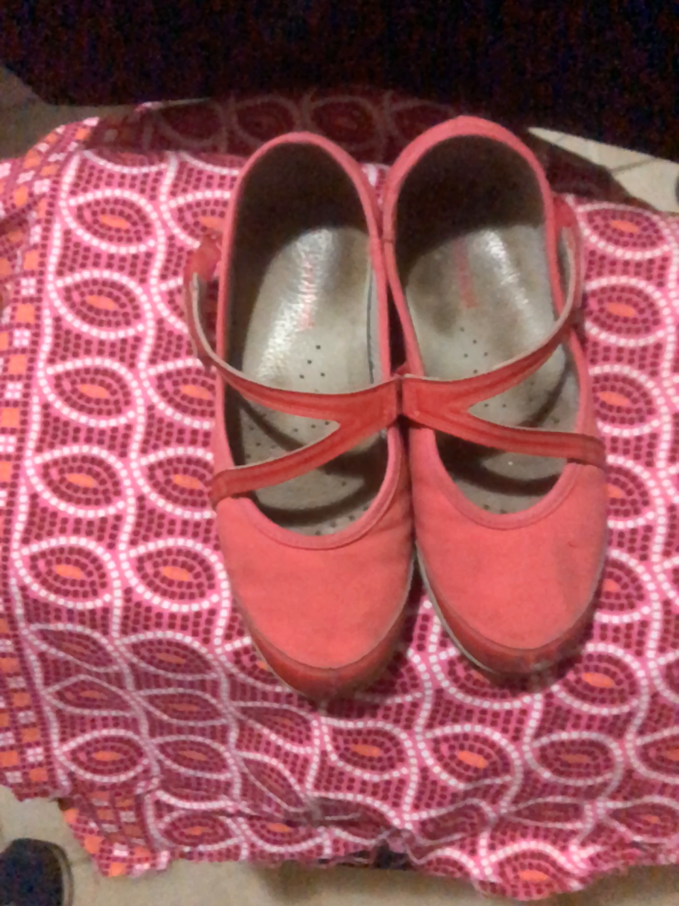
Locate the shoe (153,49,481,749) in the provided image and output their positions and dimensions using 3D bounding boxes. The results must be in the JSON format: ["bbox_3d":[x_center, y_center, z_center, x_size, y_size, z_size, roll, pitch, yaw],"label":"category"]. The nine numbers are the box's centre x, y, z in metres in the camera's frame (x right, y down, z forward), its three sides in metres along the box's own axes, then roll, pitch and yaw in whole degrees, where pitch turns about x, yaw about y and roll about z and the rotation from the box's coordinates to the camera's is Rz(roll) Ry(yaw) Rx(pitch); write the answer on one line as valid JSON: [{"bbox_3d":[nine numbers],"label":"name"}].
[{"bbox_3d":[-0.011,-0.024,0.372,0.110,0.100,0.290,-6,85,2],"label":"shoe"}]

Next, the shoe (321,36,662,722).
[{"bbox_3d":[0.067,-0.035,0.390,0.110,0.100,0.300,-8,85,1],"label":"shoe"}]
